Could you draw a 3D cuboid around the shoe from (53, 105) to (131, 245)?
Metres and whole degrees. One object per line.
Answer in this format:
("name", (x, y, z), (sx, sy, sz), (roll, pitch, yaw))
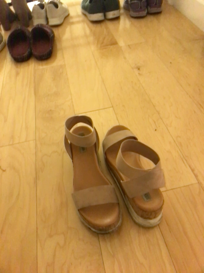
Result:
("shoe", (-0.028, 0.073, 0.486), (0.100, 0.139, 0.252), (-14, 48, -6))

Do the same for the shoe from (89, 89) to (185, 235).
("shoe", (0.058, 0.042, 0.508), (0.100, 0.139, 0.292), (-14, 48, -6))
